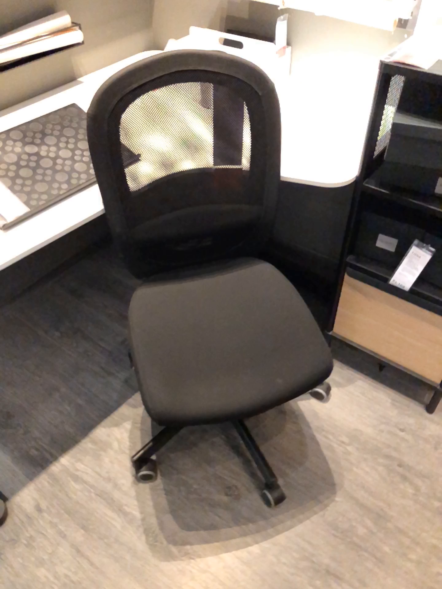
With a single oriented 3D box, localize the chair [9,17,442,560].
[{"bbox_3d":[0.000,-0.015,1.128,0.630,0.884,0.714,-15,47,-14],"label":"chair"}]
